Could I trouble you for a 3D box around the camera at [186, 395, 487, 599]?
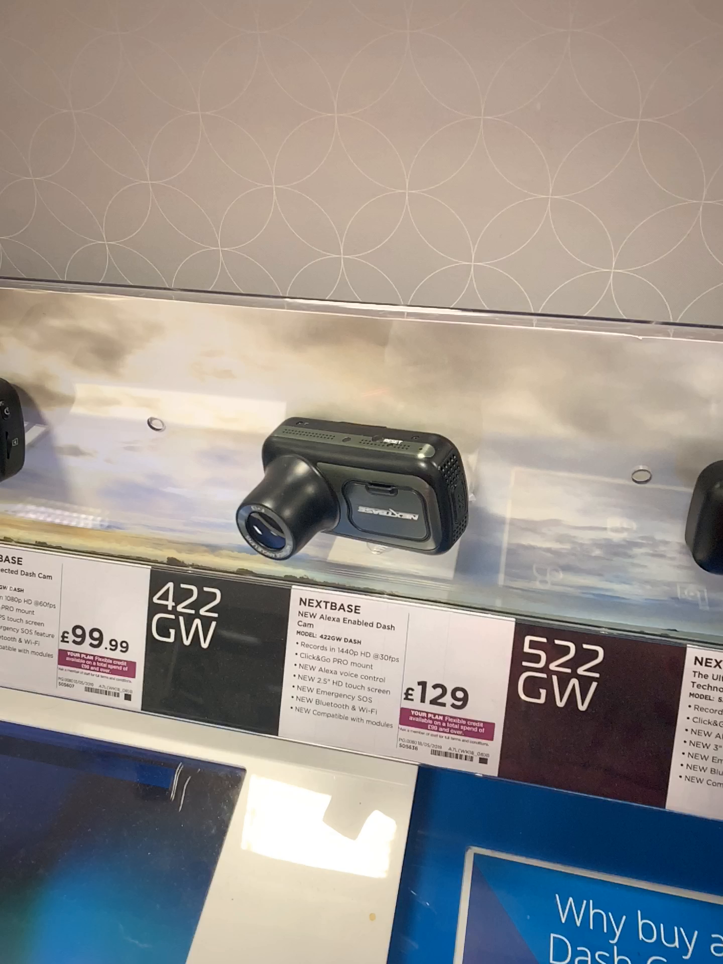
[{"bbox_3d":[-0.008,0.001,0.268,0.090,0.040,0.050,9,36,31],"label":"camera"}]
